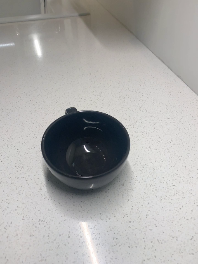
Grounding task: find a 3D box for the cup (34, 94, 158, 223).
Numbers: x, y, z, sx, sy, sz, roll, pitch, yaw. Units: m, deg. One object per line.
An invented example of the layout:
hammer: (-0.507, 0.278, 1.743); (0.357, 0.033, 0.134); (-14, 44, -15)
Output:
cup: (-0.013, 0.023, 0.259); (0.110, 0.060, 0.130); (-13, 49, -12)
